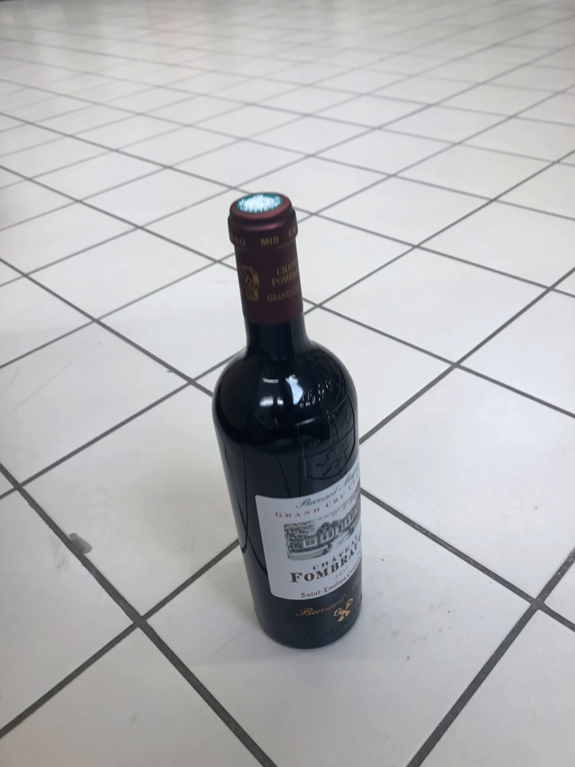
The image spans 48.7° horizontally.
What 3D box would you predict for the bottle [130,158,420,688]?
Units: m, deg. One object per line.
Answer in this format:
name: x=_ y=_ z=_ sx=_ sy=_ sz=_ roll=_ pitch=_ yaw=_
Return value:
bottle: x=0.005 y=0.037 z=0.363 sx=0.090 sy=0.288 sz=0.090 roll=-4 pitch=37 yaw=3
